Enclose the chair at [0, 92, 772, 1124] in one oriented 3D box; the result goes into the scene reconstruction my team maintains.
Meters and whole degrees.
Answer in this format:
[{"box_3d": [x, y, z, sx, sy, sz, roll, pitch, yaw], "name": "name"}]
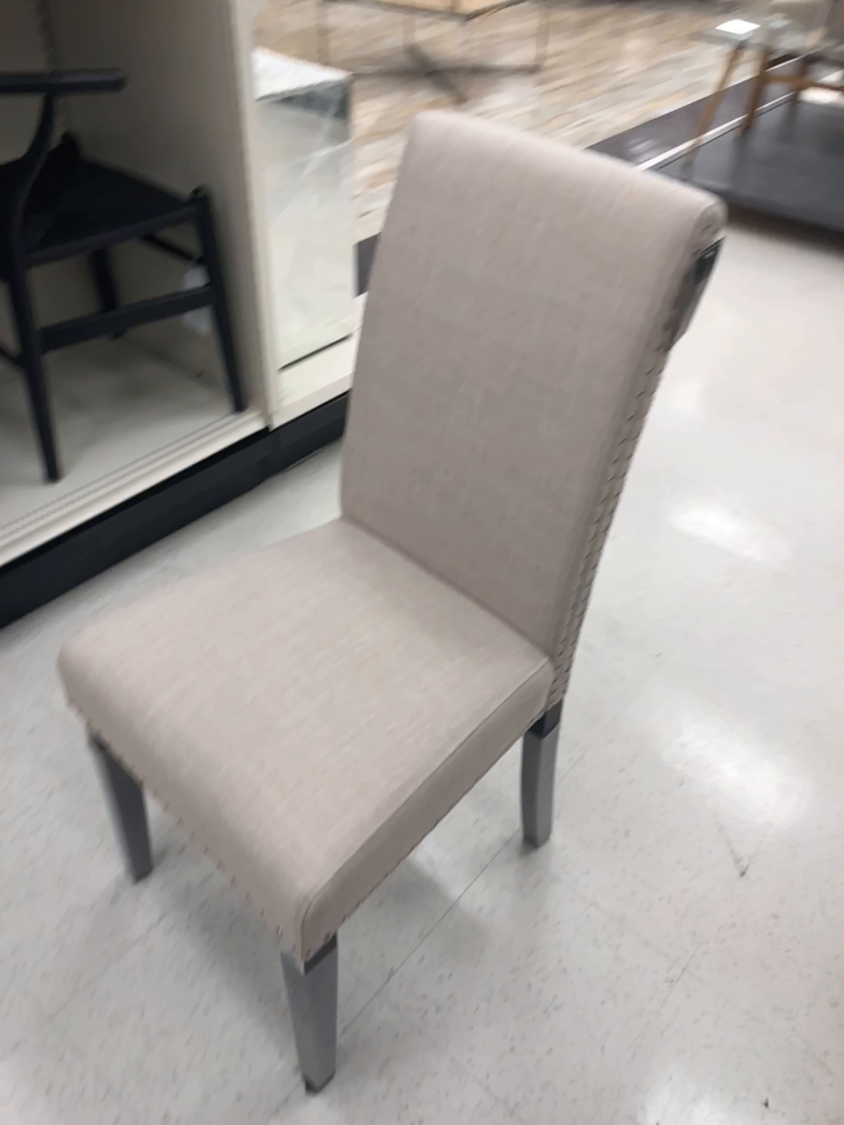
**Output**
[{"box_3d": [-0.075, 0.075, 1.114, 0.558, 1.006, 0.488, -31, 50, -34], "name": "chair"}]
